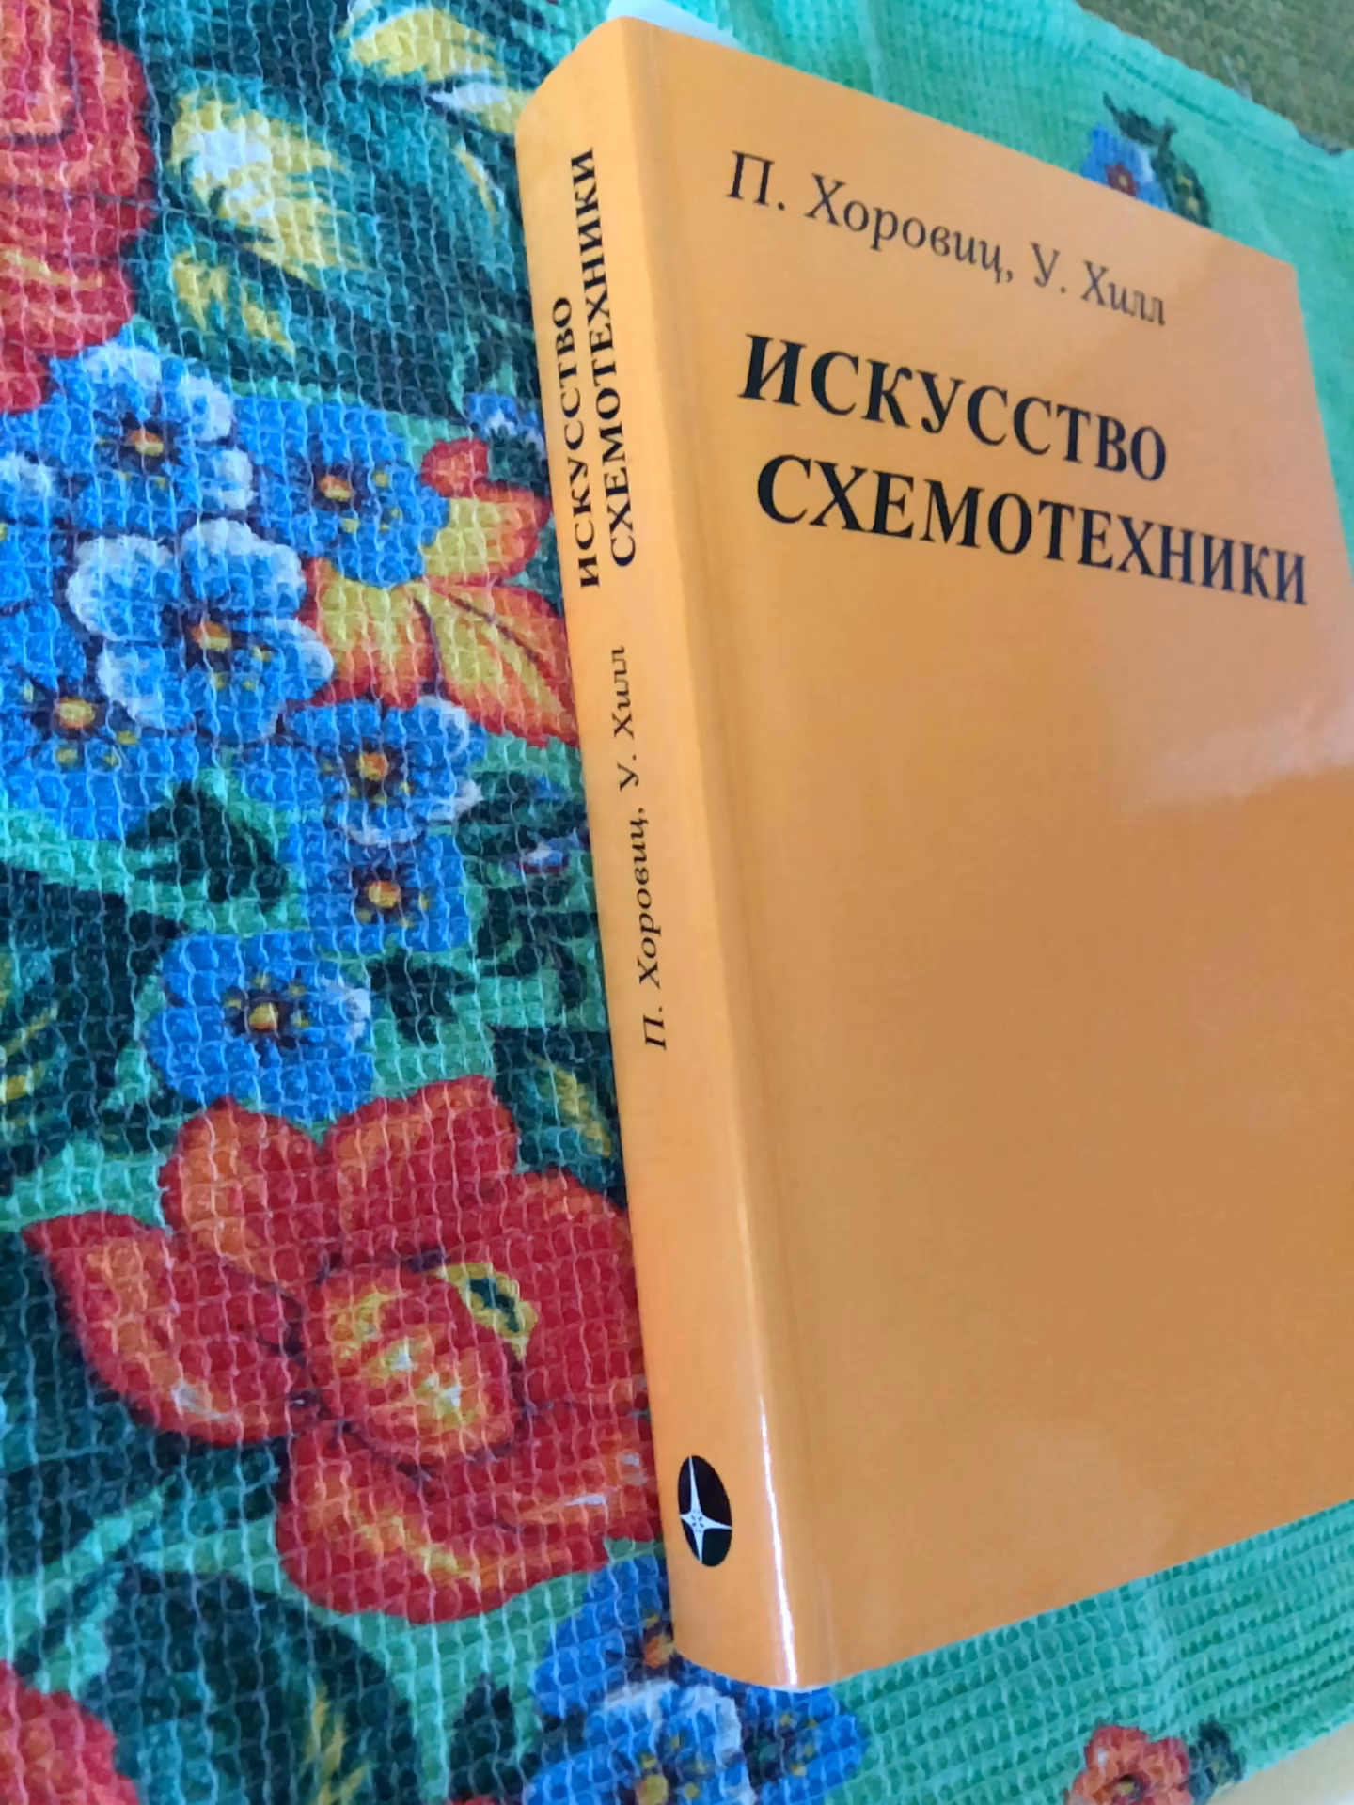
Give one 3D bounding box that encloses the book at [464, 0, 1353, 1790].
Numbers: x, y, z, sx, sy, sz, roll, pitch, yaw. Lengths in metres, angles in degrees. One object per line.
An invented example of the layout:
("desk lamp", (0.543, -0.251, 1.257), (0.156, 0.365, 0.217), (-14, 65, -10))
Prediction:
("book", (0.067, -0.016, 0.270), (0.181, 0.050, 0.260), (1, 75, -32))
